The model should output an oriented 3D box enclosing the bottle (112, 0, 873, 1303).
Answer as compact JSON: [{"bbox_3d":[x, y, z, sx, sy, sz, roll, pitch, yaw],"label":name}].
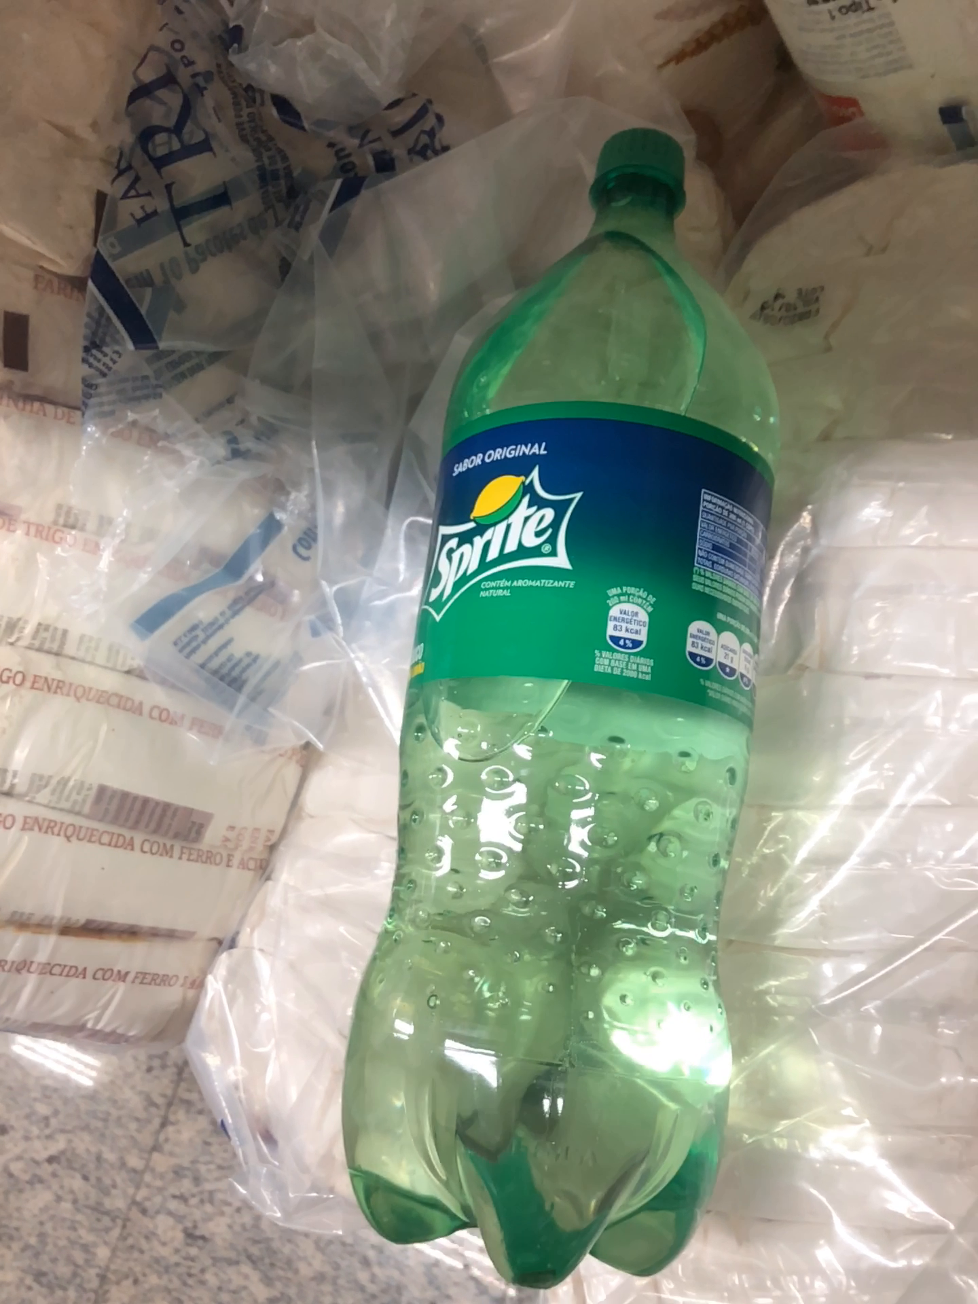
[{"bbox_3d":[0.029,-0.037,0.324,0.110,0.109,0.381,-3,63,35],"label":"bottle"}]
